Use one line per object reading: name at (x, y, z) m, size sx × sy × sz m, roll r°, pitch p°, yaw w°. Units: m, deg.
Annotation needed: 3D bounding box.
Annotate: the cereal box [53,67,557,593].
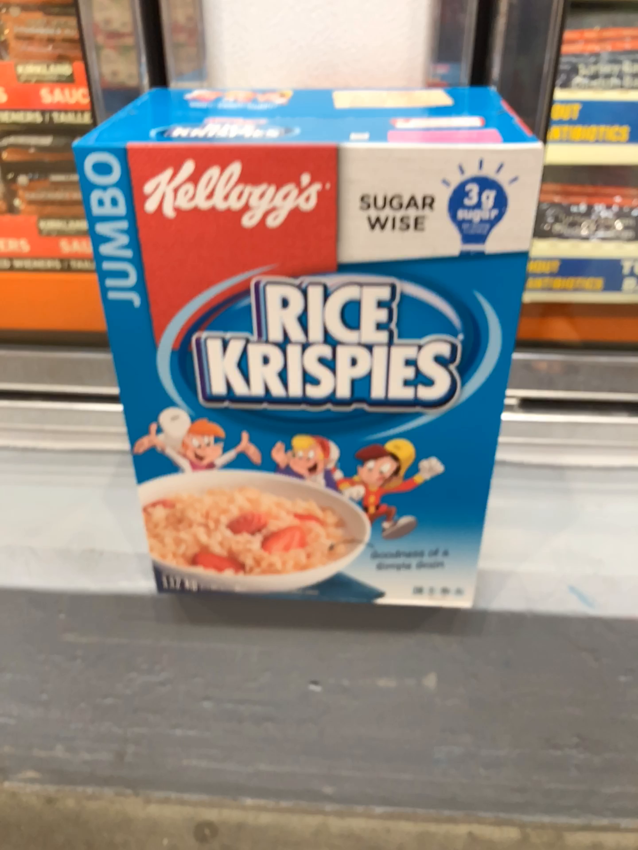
cereal box at (-0.003, -0.058, 0.499) m, size 0.240 × 0.319 × 0.161 m, roll 1°, pitch 36°, yaw 3°
